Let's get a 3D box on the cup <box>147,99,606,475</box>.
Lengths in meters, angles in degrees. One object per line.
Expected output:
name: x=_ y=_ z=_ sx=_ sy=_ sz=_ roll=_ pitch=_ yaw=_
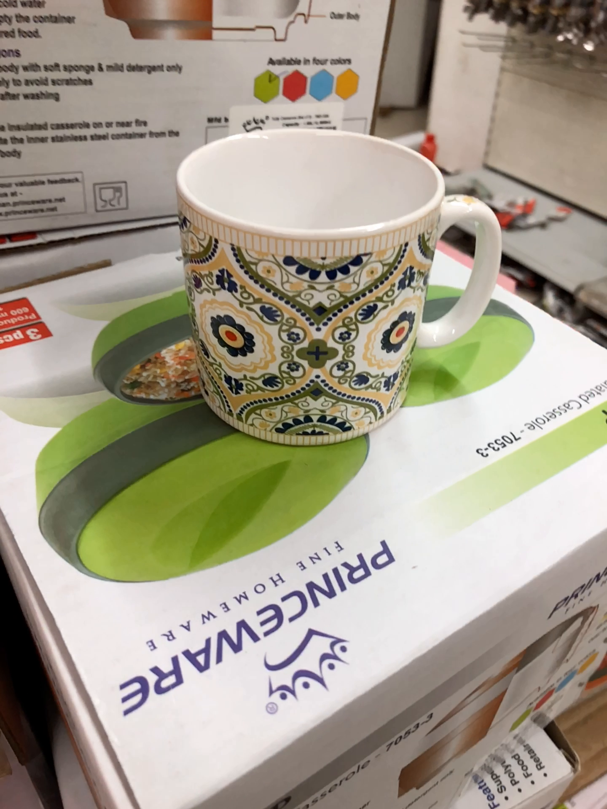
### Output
cup: x=0.016 y=-0.042 z=0.215 sx=0.110 sy=0.079 sz=0.070 roll=-11 pitch=40 yaw=-15
